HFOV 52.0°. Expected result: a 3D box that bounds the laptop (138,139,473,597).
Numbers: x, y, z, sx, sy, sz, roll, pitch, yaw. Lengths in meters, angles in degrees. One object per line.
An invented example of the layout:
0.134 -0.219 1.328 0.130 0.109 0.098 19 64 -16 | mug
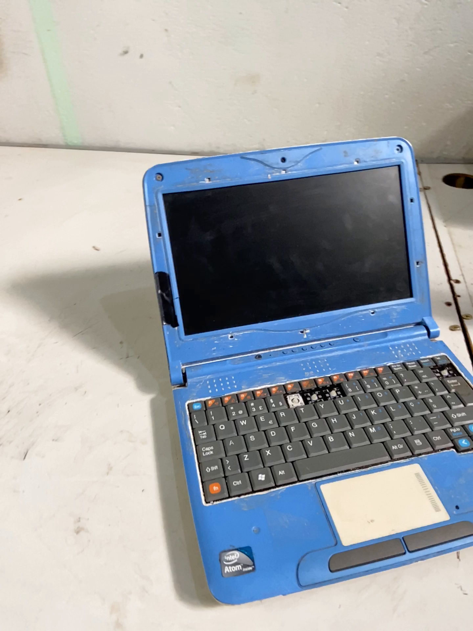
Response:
0.072 0.003 0.369 0.240 0.149 0.288 -10 41 -10 | laptop
